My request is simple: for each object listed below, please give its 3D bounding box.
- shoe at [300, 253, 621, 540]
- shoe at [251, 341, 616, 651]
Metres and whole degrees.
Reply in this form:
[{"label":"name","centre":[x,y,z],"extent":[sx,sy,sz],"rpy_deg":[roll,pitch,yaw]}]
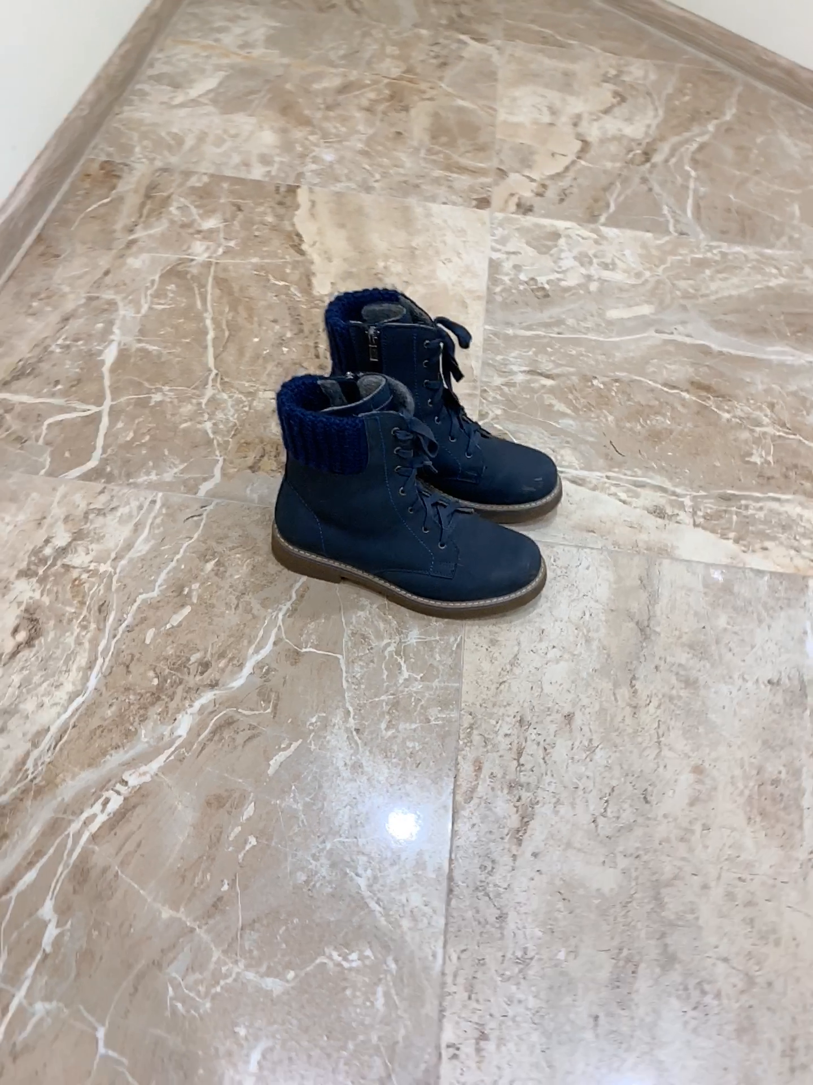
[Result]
[{"label":"shoe","centre":[0.041,-0.130,0.782],"extent":[0.260,0.199,0.102],"rpy_deg":[13,52,3]},{"label":"shoe","centre":[0.016,-0.032,0.701],"extent":[0.260,0.199,0.102],"rpy_deg":[13,52,3]}]
